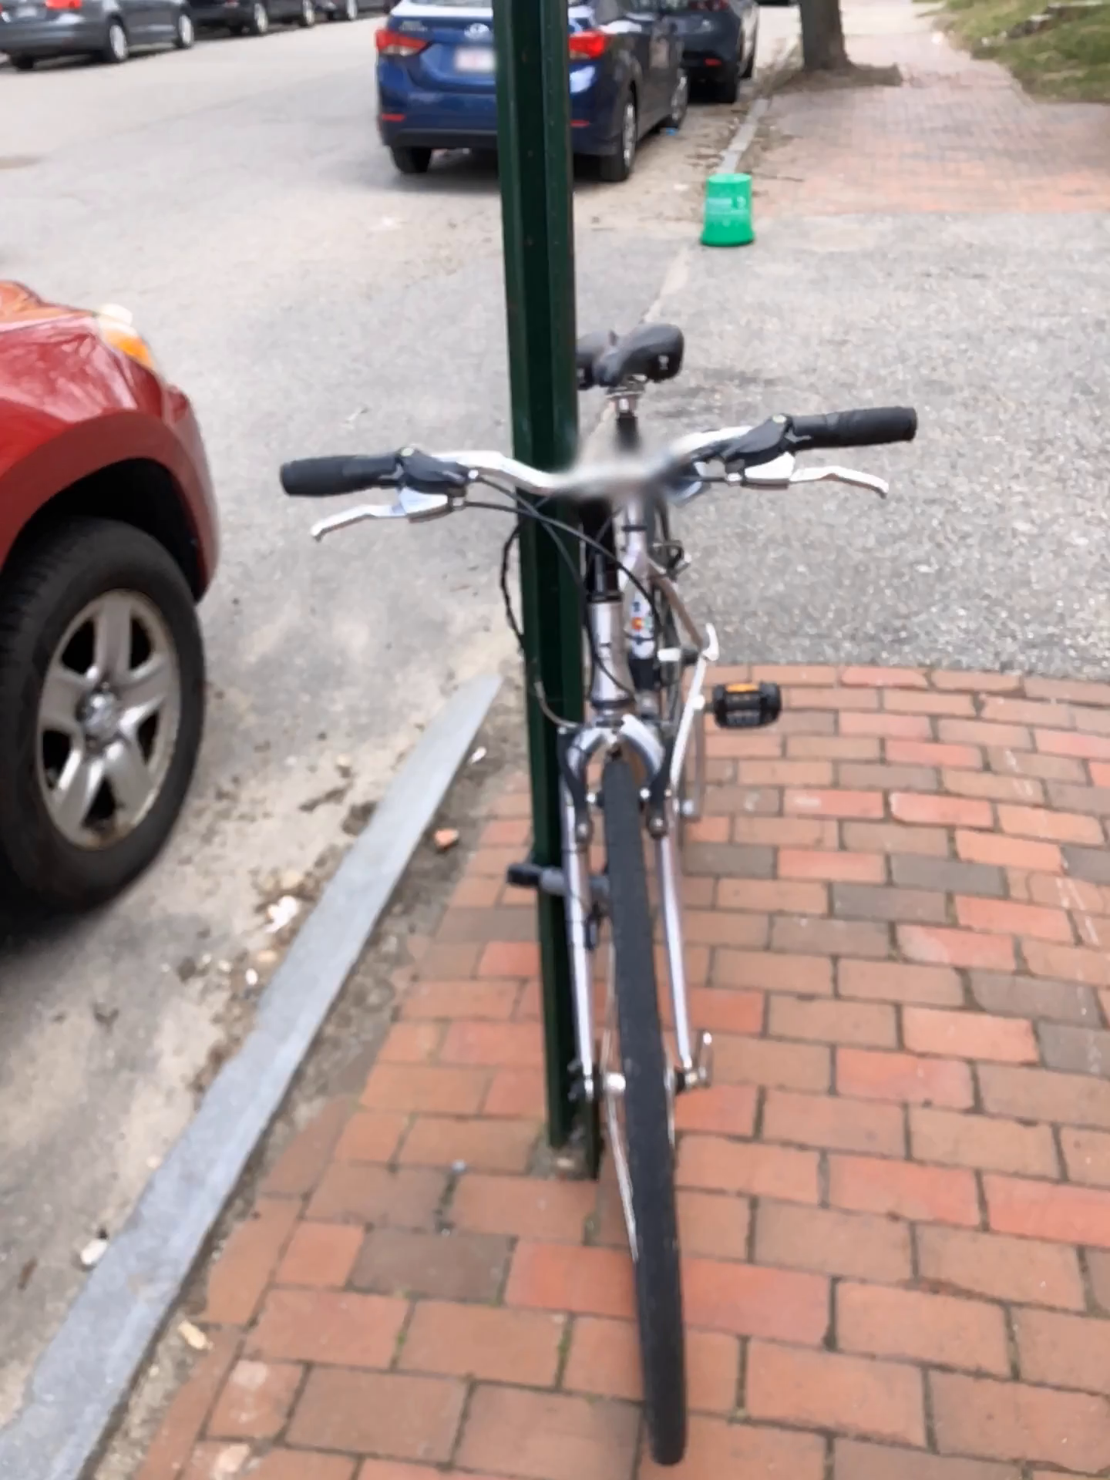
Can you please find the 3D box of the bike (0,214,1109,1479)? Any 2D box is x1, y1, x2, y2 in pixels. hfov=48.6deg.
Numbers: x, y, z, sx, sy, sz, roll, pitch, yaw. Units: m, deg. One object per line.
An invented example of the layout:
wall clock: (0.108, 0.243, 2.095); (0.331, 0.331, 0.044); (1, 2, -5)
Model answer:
bike: (0.093, -0.096, 1.533); (0.608, 1.011, 1.569); (3, 27, 3)
